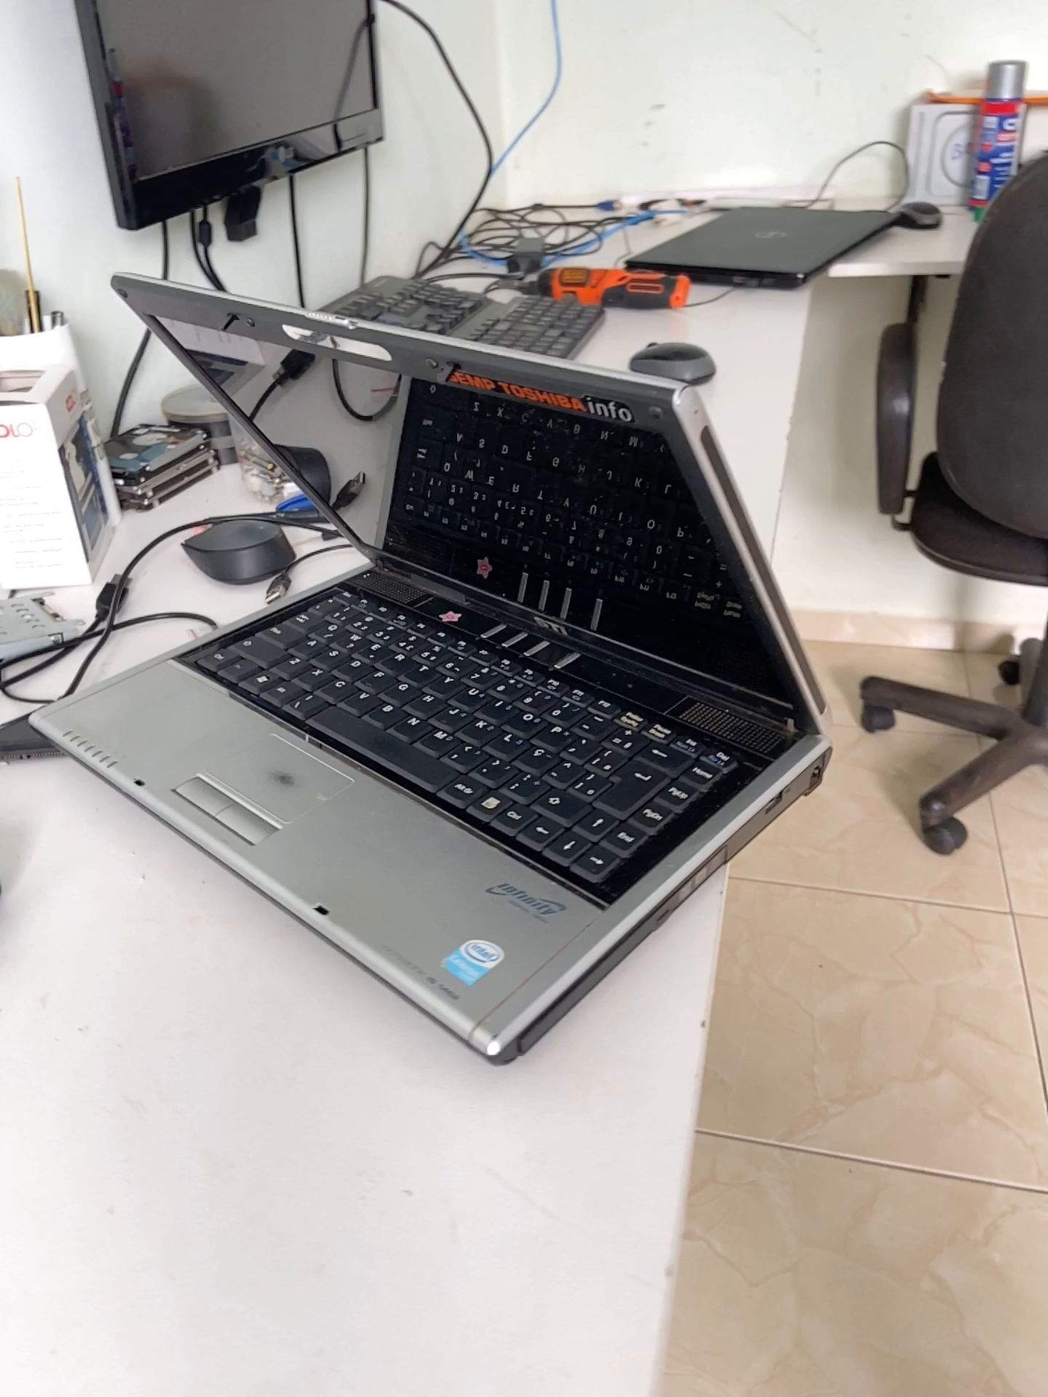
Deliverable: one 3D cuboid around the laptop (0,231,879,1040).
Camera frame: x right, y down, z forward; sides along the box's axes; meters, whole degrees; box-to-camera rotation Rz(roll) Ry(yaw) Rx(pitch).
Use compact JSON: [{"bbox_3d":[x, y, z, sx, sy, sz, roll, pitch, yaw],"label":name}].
[{"bbox_3d":[-0.063,-0.073,0.490,0.338,0.210,0.236,23,40,36],"label":"laptop"}]
